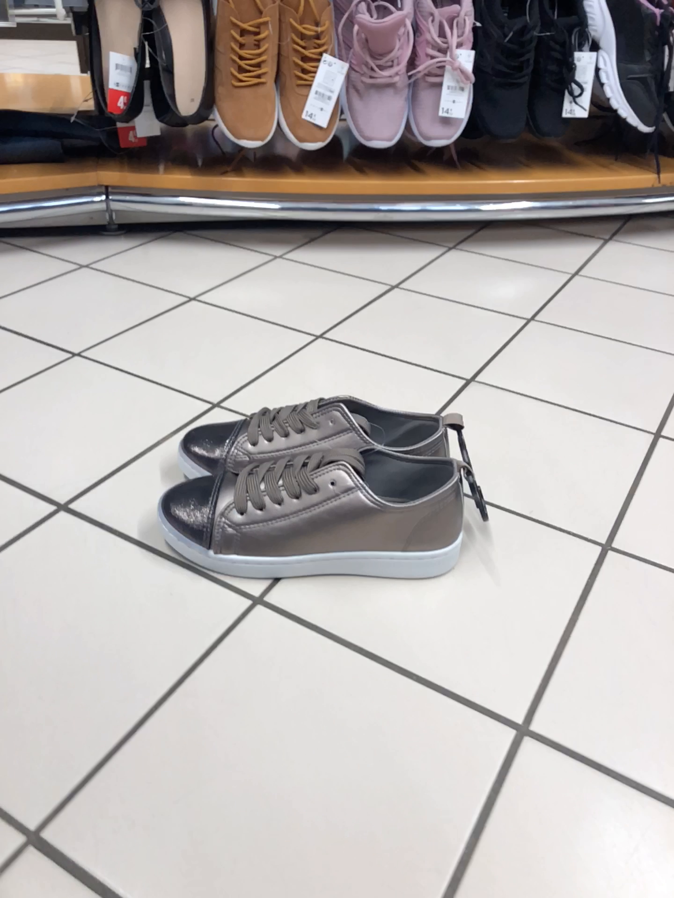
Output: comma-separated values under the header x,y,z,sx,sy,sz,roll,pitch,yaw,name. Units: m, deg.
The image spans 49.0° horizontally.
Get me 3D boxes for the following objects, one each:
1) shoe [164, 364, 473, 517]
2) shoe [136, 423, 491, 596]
x,y,z,sx,sy,sz,roll,pitch,yaw,name
-0.014,-0.009,0.634,0.240,0.079,0.091,4,34,2,shoe
-0.016,0.044,0.559,0.240,0.079,0.091,3,34,0,shoe
